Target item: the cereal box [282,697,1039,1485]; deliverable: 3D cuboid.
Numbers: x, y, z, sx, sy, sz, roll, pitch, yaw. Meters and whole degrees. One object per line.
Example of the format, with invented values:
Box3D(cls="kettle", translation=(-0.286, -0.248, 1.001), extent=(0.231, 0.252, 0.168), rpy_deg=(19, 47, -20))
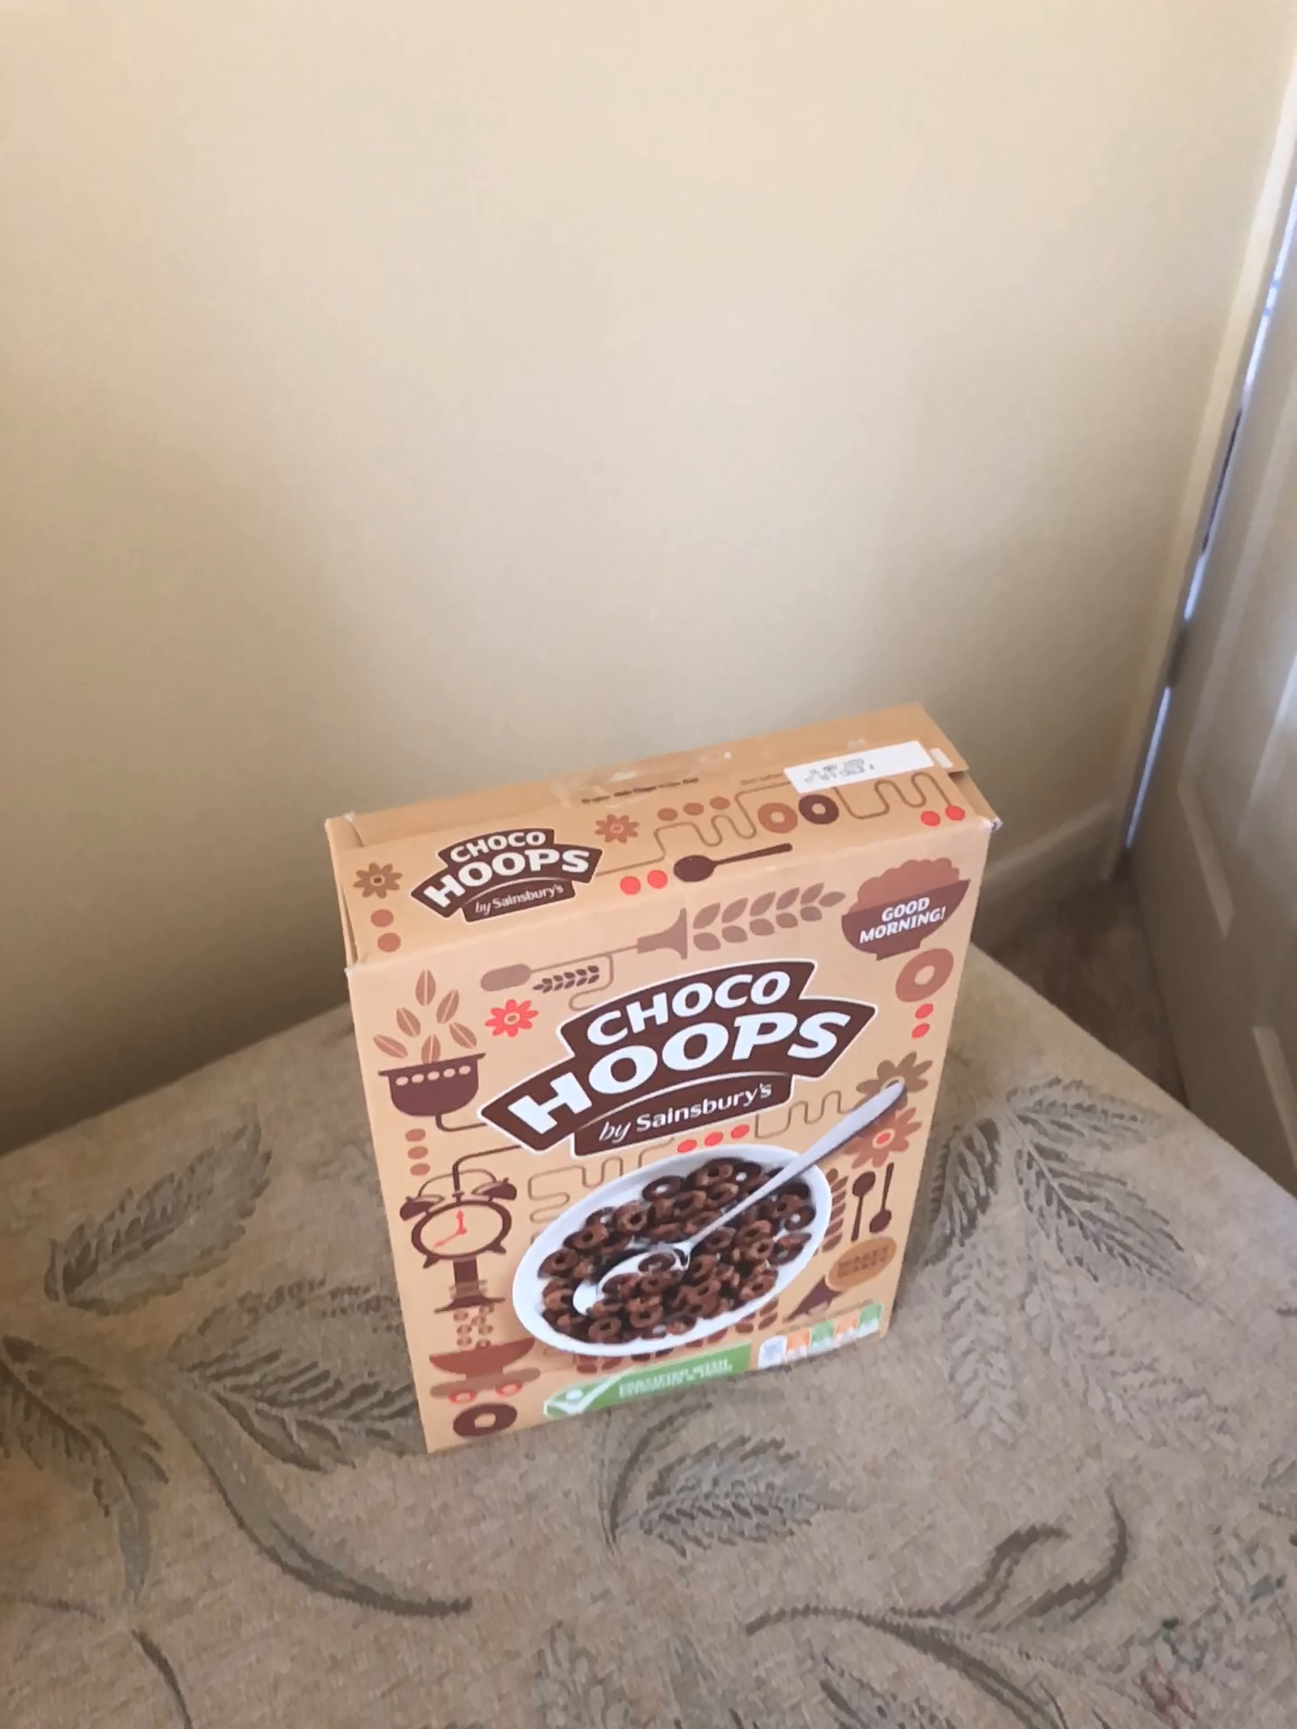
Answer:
Box3D(cls="cereal box", translation=(0.001, 0.088, 0.508), extent=(0.210, 0.258, 0.080), rpy_deg=(-11, 41, -13))
